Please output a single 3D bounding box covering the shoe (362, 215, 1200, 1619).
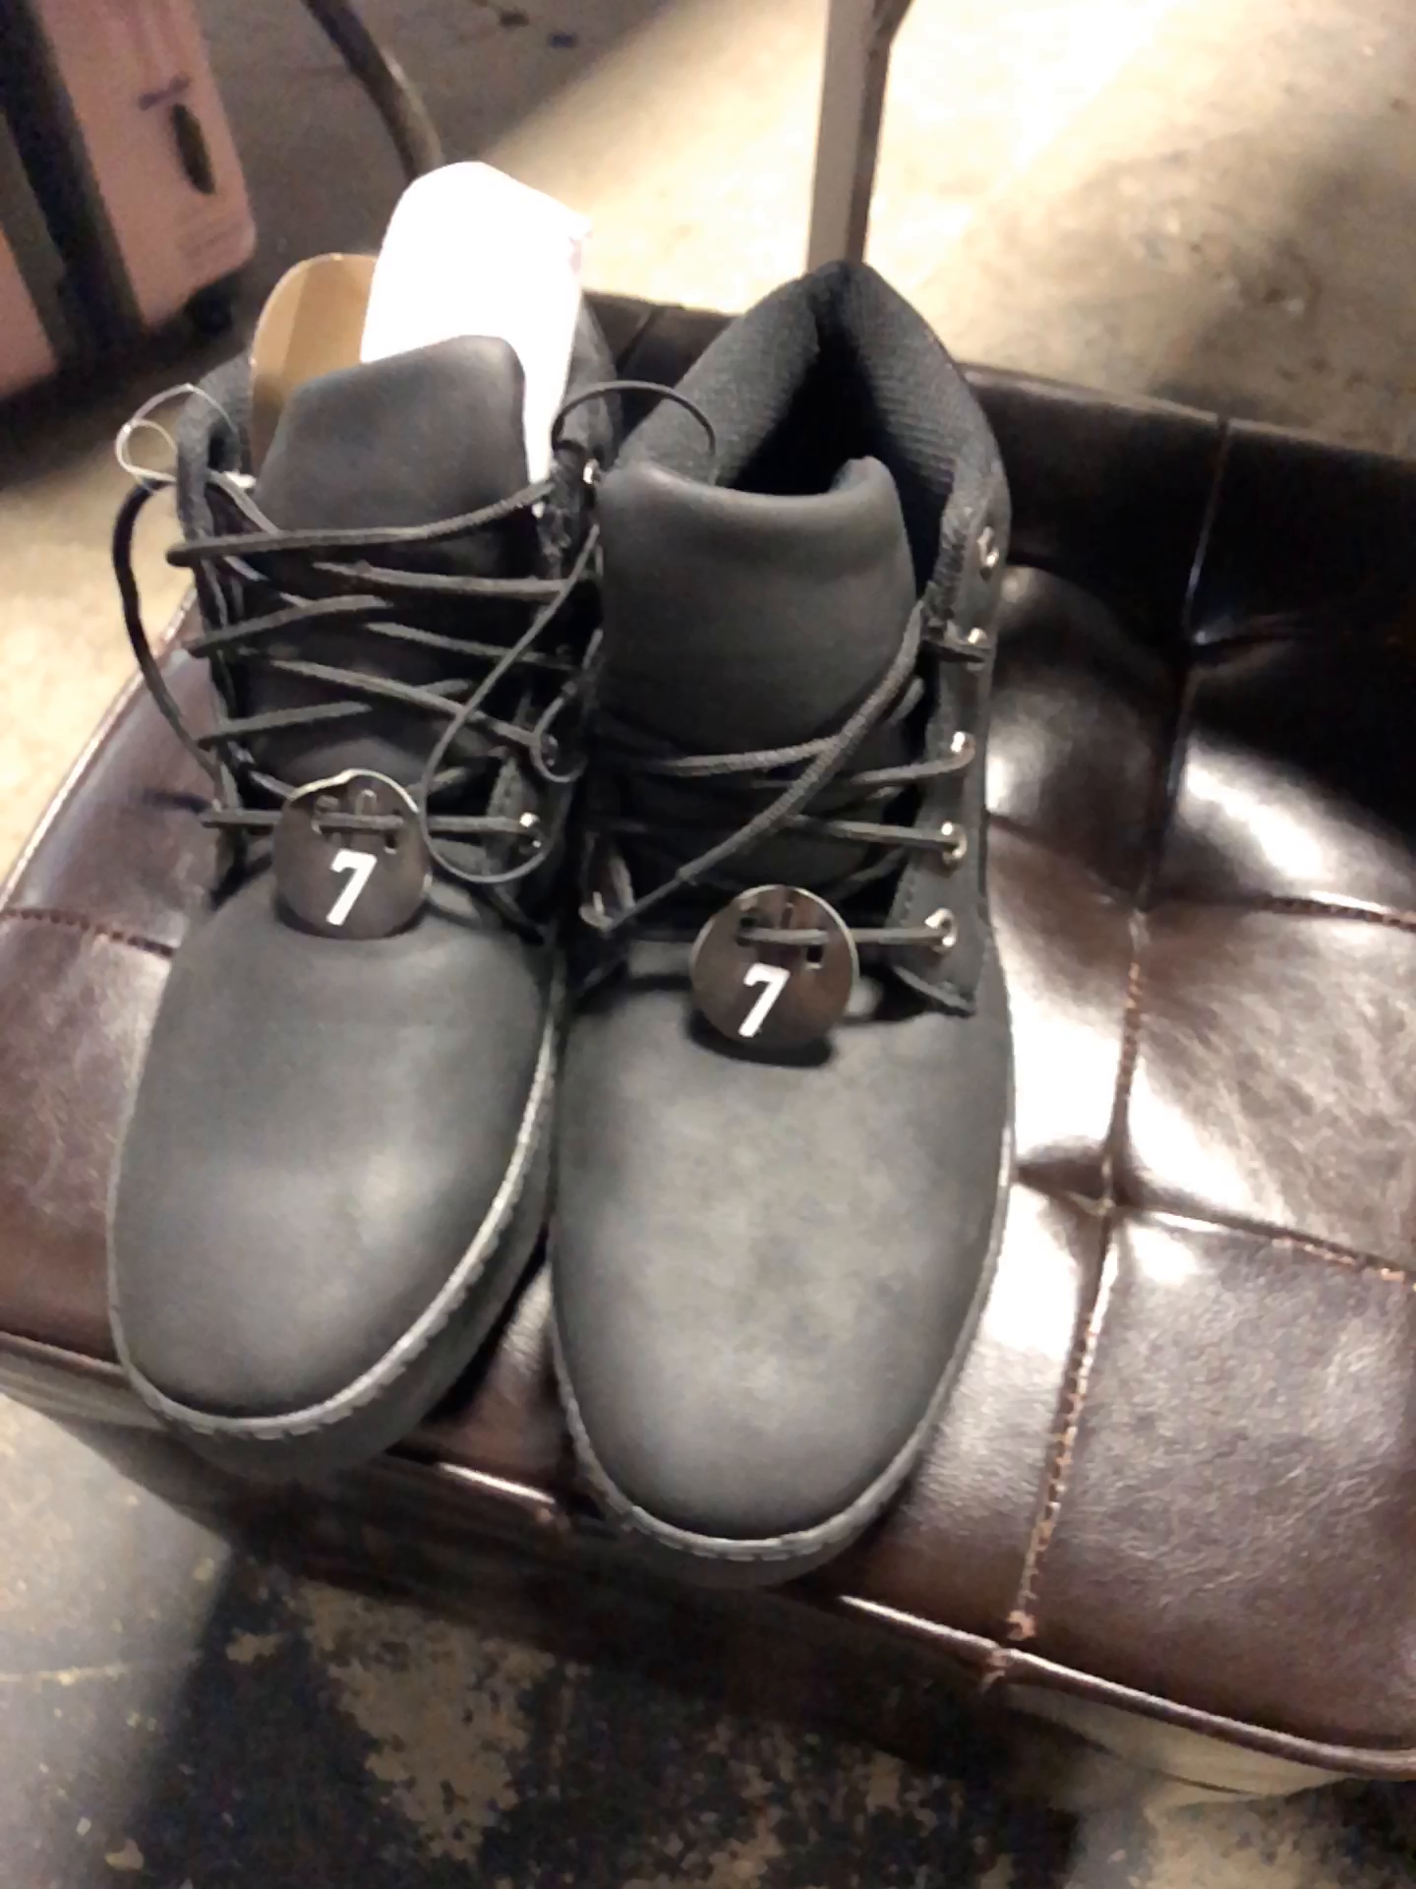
[{"bbox_3d":[0.020,-0.005,0.304,0.100,0.139,0.221,7,59,2],"label":"shoe"}]

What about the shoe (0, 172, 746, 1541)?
[{"bbox_3d":[-0.059,-0.024,0.350,0.100,0.139,0.261,7,59,2],"label":"shoe"}]
